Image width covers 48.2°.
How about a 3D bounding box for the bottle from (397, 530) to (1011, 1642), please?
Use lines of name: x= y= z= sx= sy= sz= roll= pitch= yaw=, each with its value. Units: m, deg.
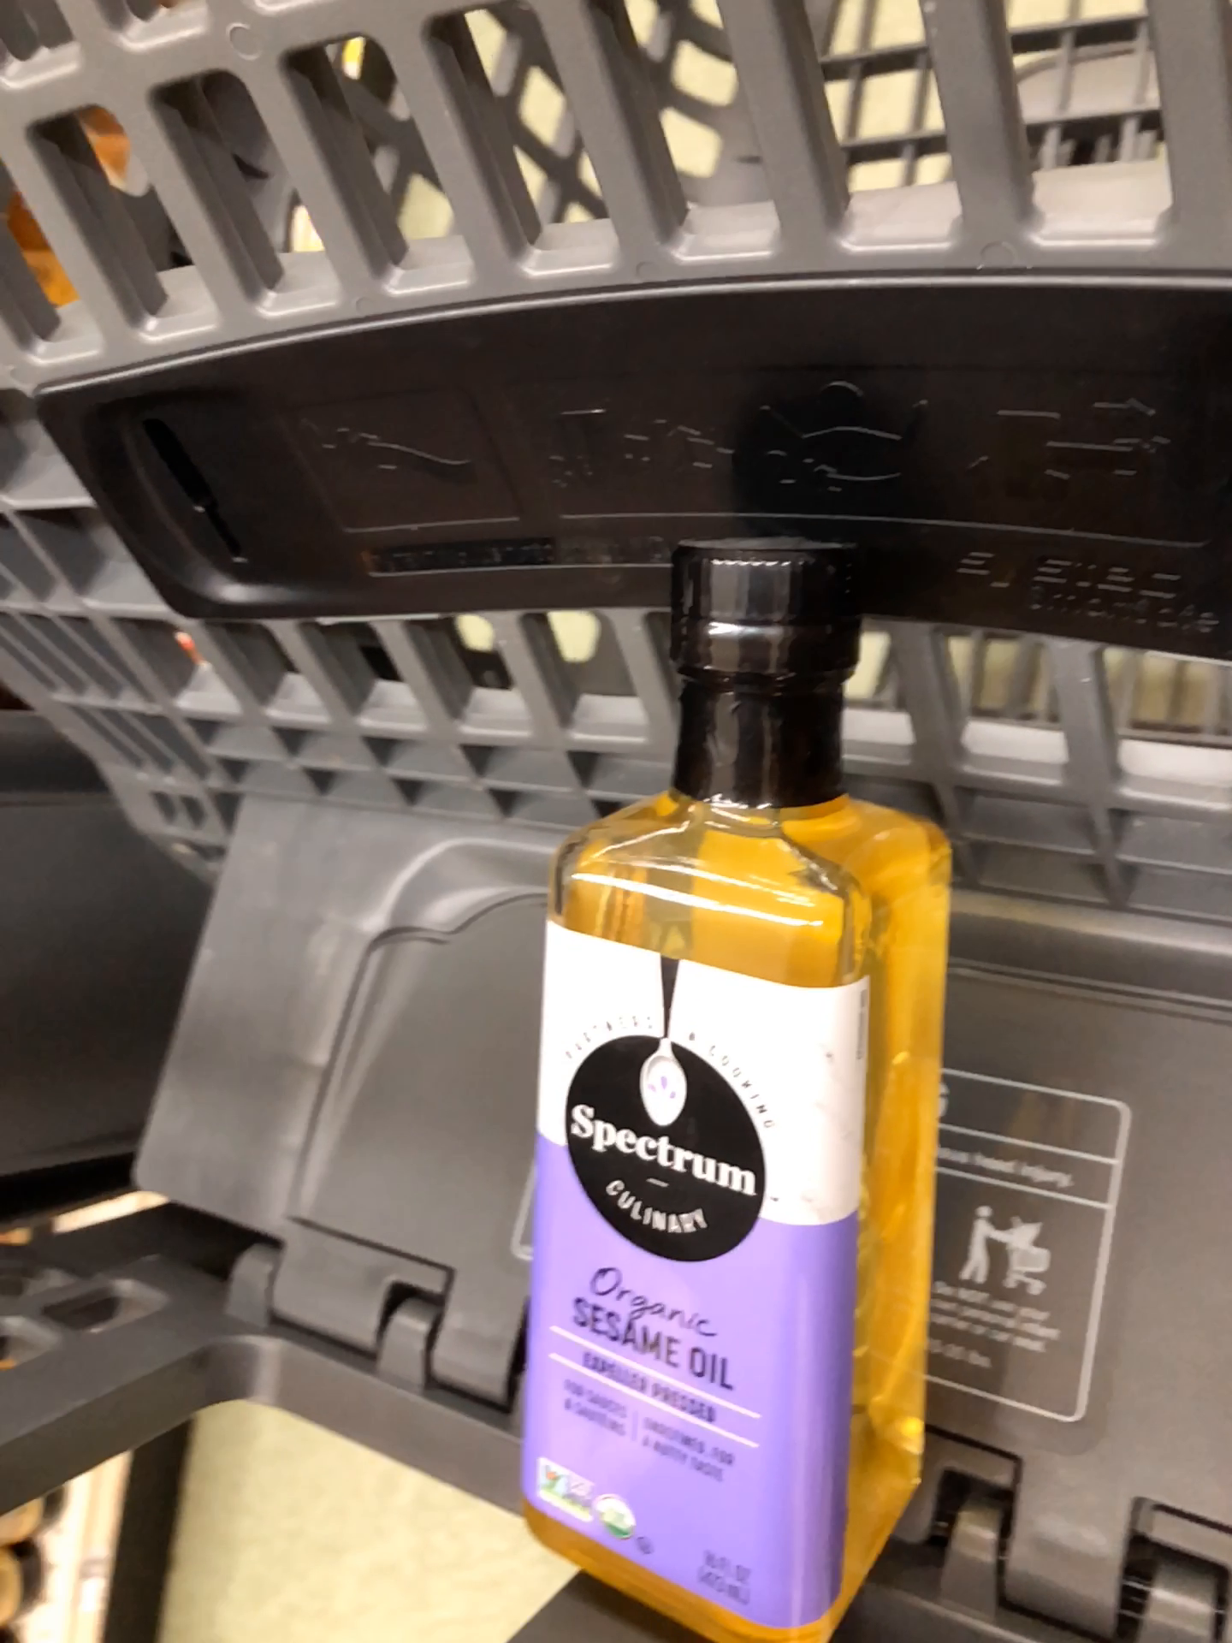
bottle: x=0.016 y=0.052 z=0.259 sx=0.080 sy=0.065 sz=0.200 roll=11 pitch=111 yaw=30
